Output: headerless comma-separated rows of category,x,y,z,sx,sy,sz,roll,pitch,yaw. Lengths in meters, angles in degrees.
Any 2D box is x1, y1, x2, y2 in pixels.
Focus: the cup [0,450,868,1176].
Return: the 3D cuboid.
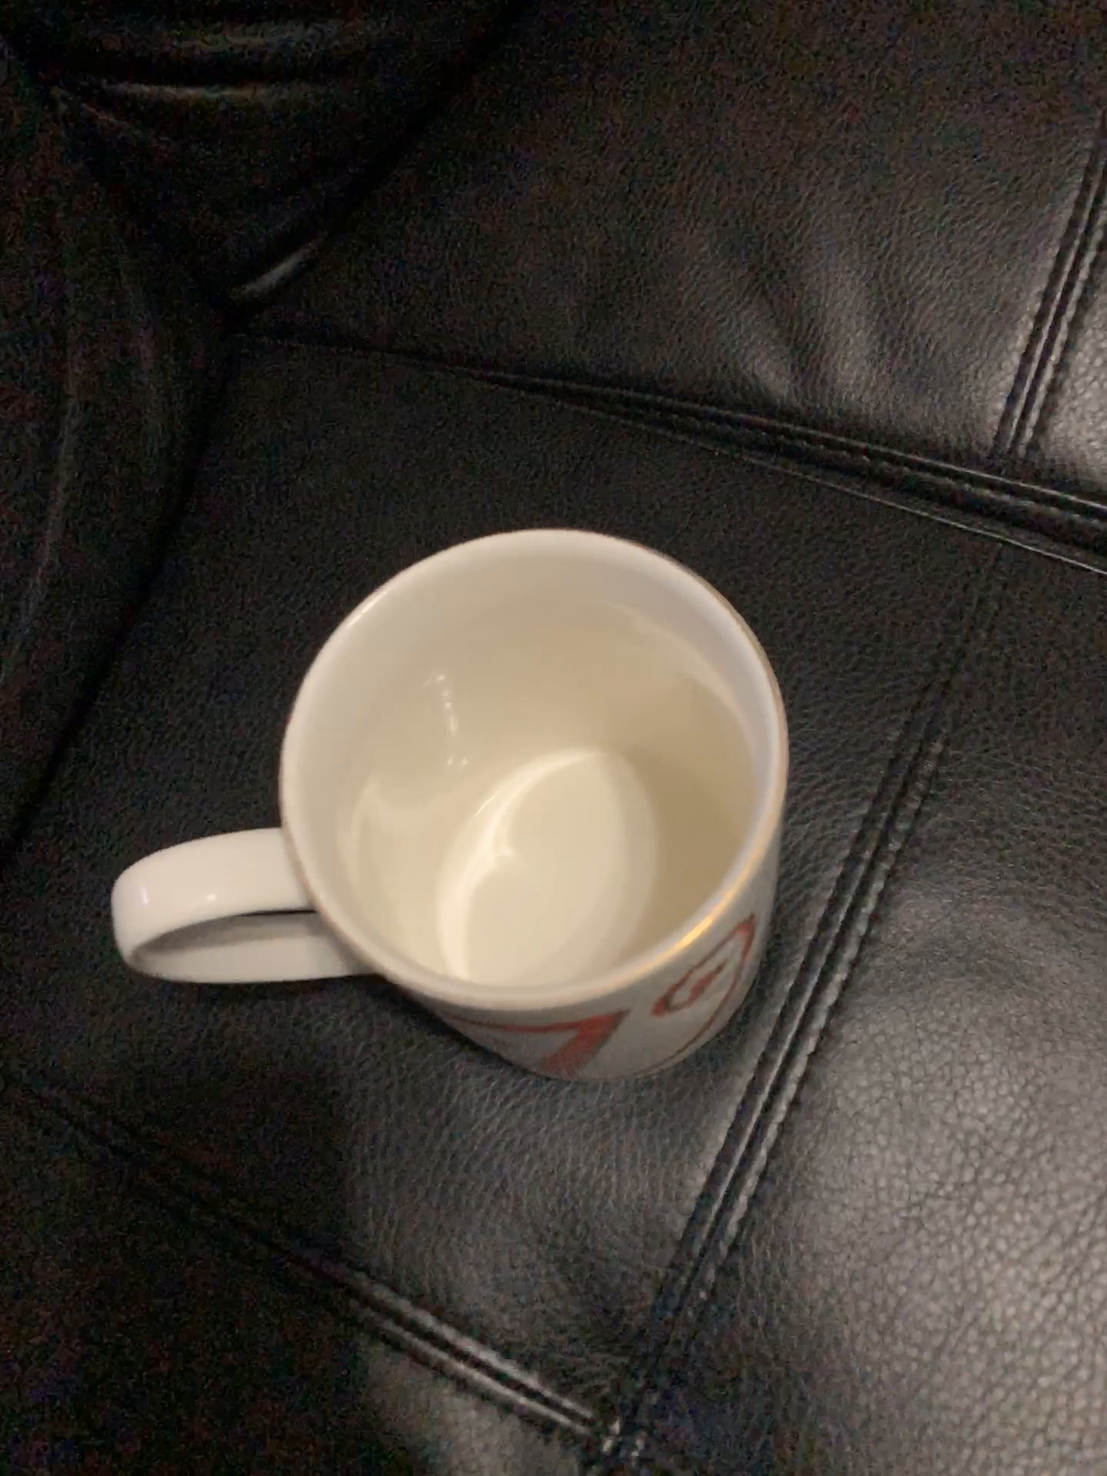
cup,-0.021,0.026,0.244,0.138,0.107,0.098,-13,65,4
